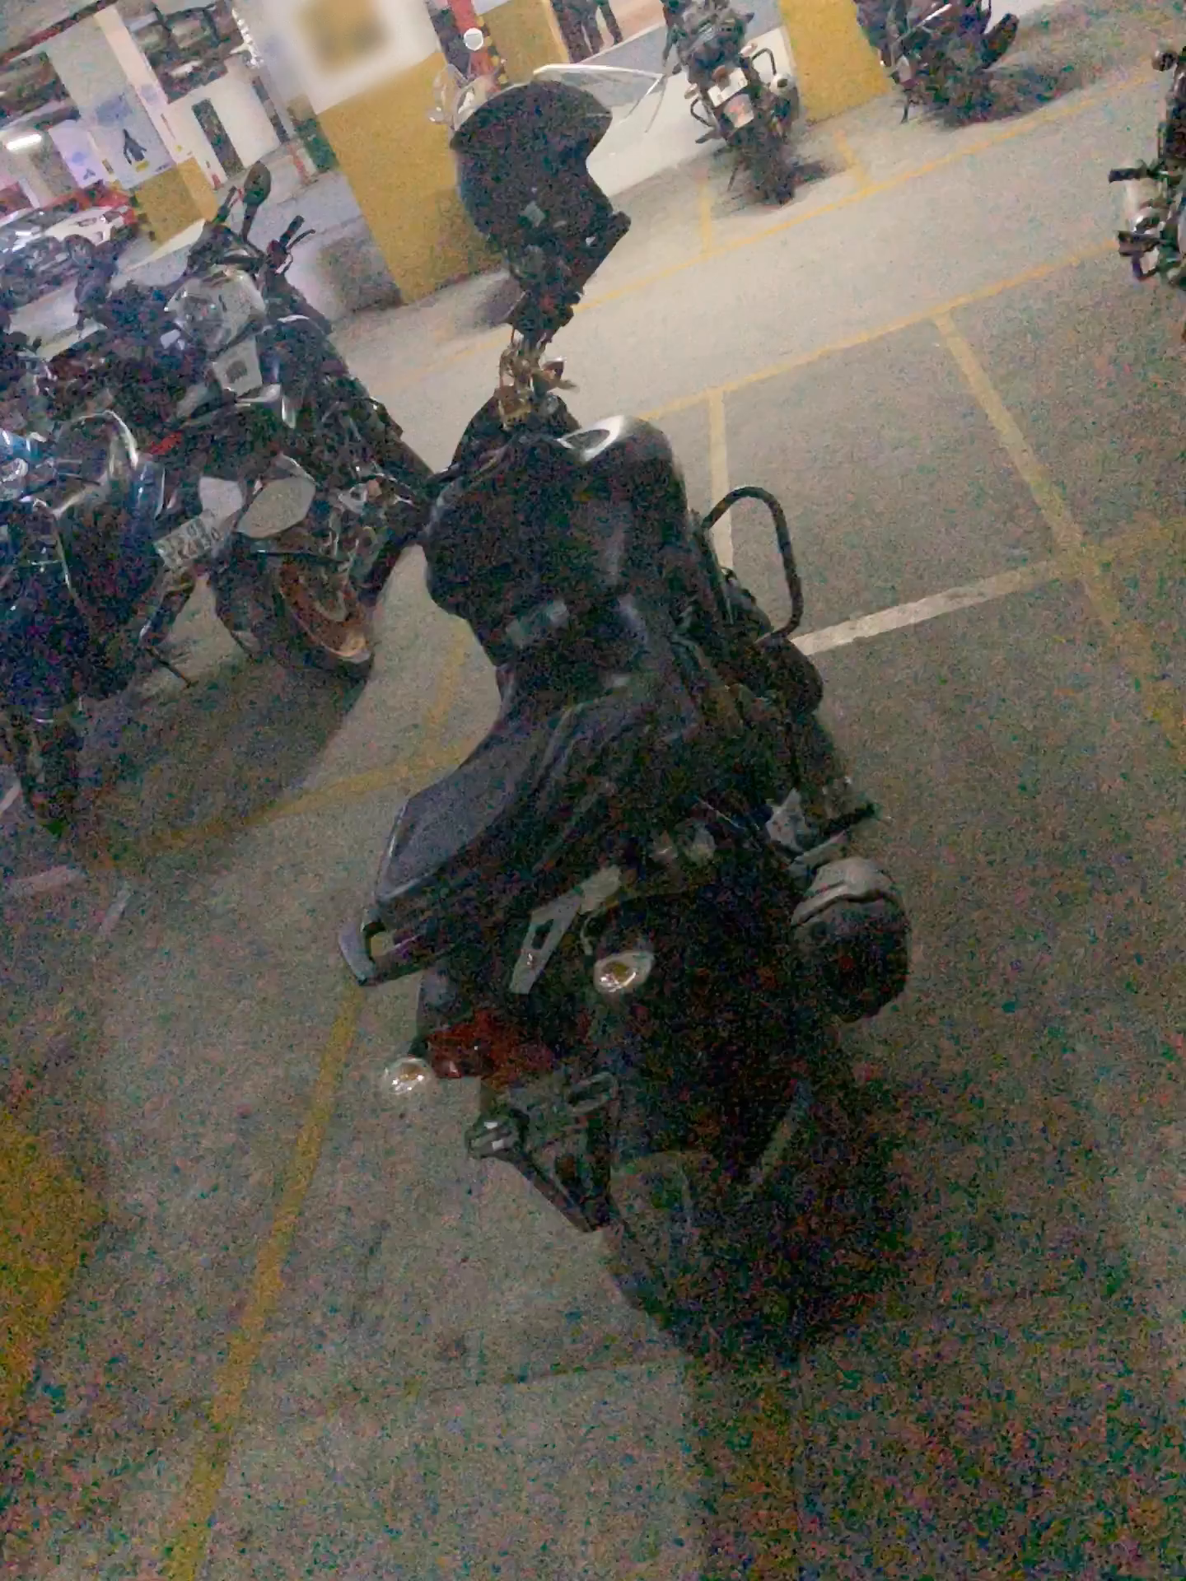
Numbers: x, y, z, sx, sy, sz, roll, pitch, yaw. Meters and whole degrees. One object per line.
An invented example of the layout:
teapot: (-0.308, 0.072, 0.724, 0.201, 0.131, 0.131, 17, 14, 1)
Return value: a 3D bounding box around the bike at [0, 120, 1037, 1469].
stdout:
bike: (-0.168, -0.168, 1.893, 0.786, 1.096, 1.744, -21, 36, 9)
